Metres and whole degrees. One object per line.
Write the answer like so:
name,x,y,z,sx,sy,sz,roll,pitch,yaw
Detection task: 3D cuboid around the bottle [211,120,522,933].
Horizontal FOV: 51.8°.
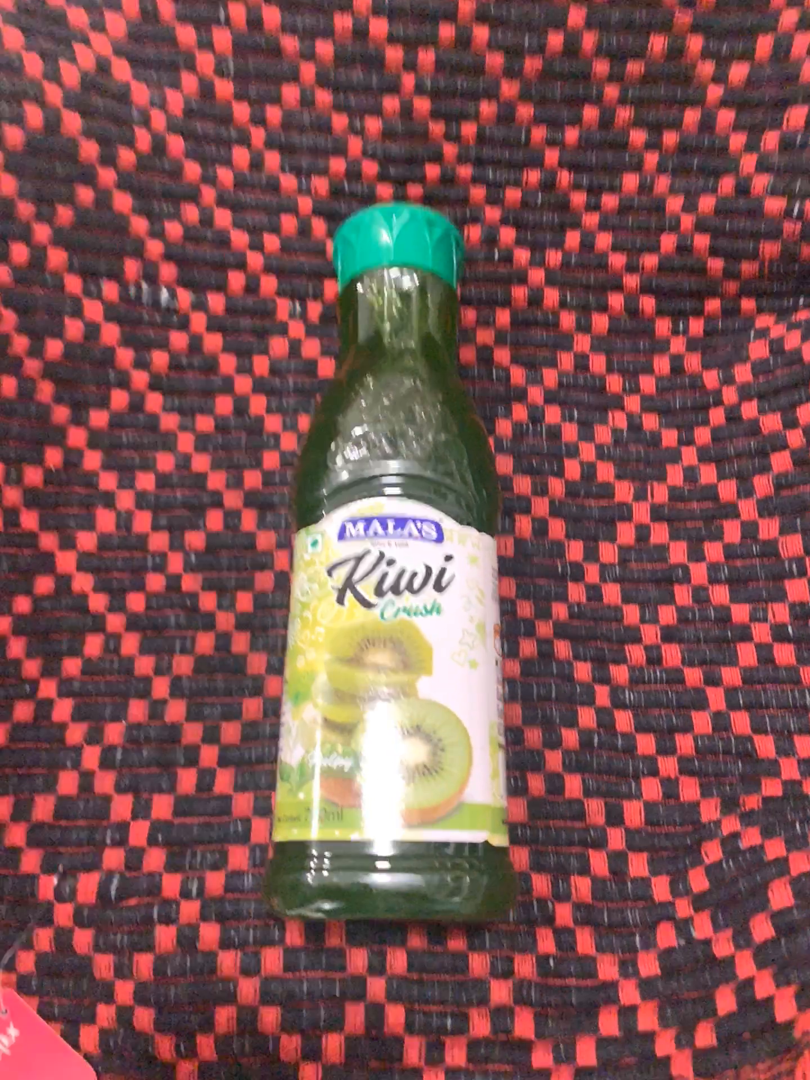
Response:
bottle,-0.009,-0.013,0.279,0.070,0.080,0.260,2,65,-3
